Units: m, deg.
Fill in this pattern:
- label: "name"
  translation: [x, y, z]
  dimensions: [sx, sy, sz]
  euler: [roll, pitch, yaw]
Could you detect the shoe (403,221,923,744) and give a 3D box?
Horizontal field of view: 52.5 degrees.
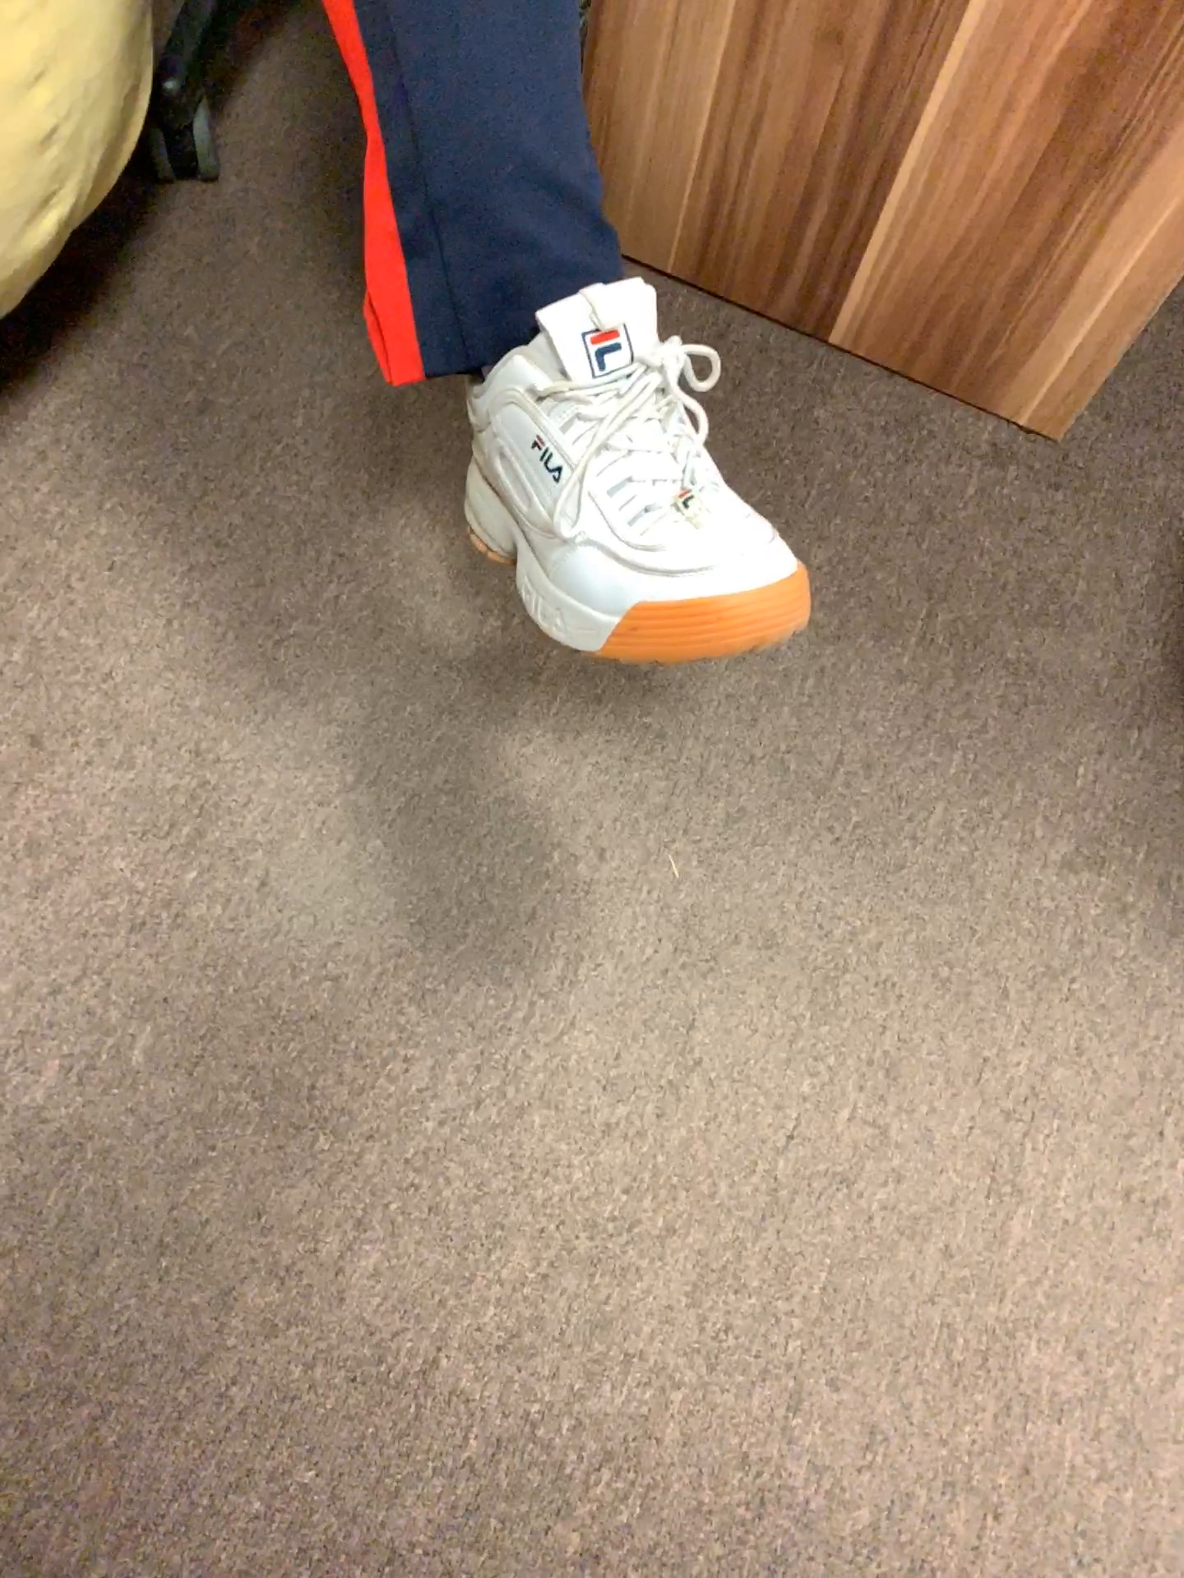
- label: "shoe"
  translation: [0.017, -0.158, 0.575]
  dimensions: [0.130, 0.130, 0.230]
  euler: [-19, 48, -23]
